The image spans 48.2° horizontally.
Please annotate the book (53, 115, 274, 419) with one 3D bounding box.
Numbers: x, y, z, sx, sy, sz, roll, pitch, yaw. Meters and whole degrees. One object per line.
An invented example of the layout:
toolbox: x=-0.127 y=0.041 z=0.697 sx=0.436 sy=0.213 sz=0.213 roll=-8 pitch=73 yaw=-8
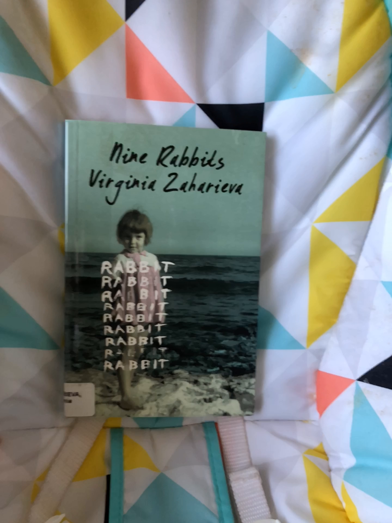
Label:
book: x=-0.023 y=0.007 z=0.311 sx=0.145 sy=0.025 sz=0.200 roll=1 pitch=94 yaw=-9
